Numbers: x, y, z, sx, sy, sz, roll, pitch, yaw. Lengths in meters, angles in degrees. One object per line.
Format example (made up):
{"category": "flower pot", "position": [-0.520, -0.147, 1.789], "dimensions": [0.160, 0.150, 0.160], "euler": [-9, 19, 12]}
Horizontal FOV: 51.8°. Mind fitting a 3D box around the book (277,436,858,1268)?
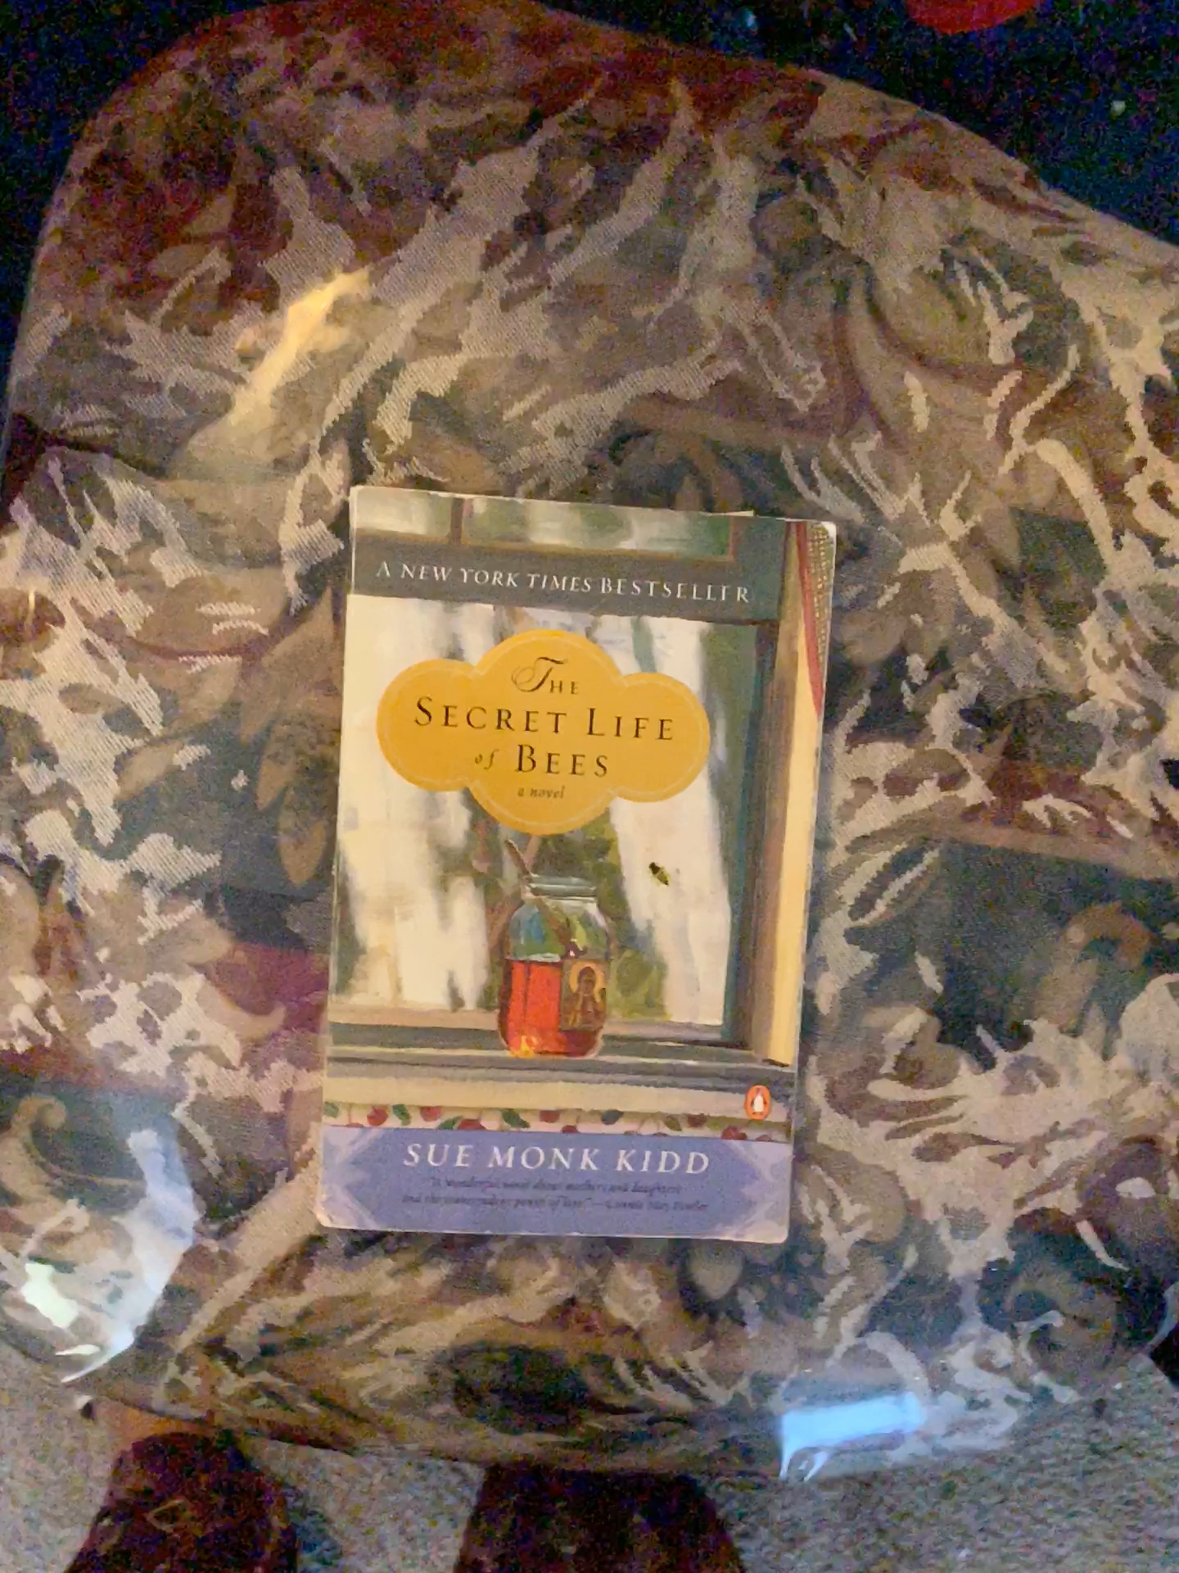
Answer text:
{"category": "book", "position": [-0.007, 0.018, 0.337], "dimensions": [0.140, 0.040, 0.210], "euler": [3, 92, -1]}
